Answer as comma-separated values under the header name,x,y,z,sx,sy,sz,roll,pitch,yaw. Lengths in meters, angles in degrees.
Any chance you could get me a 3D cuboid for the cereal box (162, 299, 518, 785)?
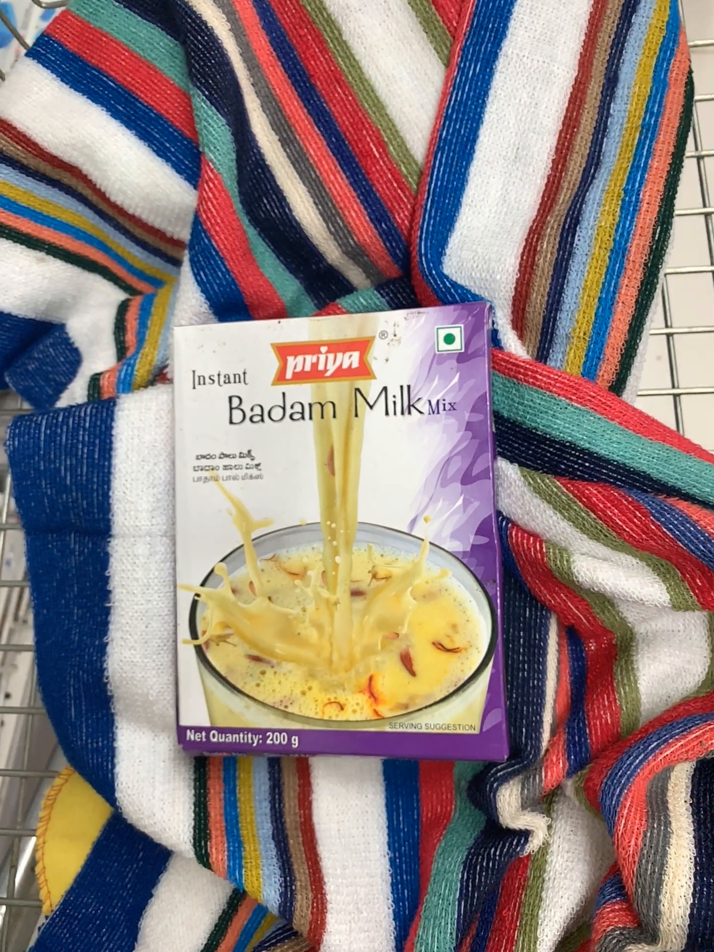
name,x,y,z,sx,sy,sz,roll,pitch,yaw
cereal box,-0.007,0.023,0.268,0.120,0.030,0.160,-2,86,8
